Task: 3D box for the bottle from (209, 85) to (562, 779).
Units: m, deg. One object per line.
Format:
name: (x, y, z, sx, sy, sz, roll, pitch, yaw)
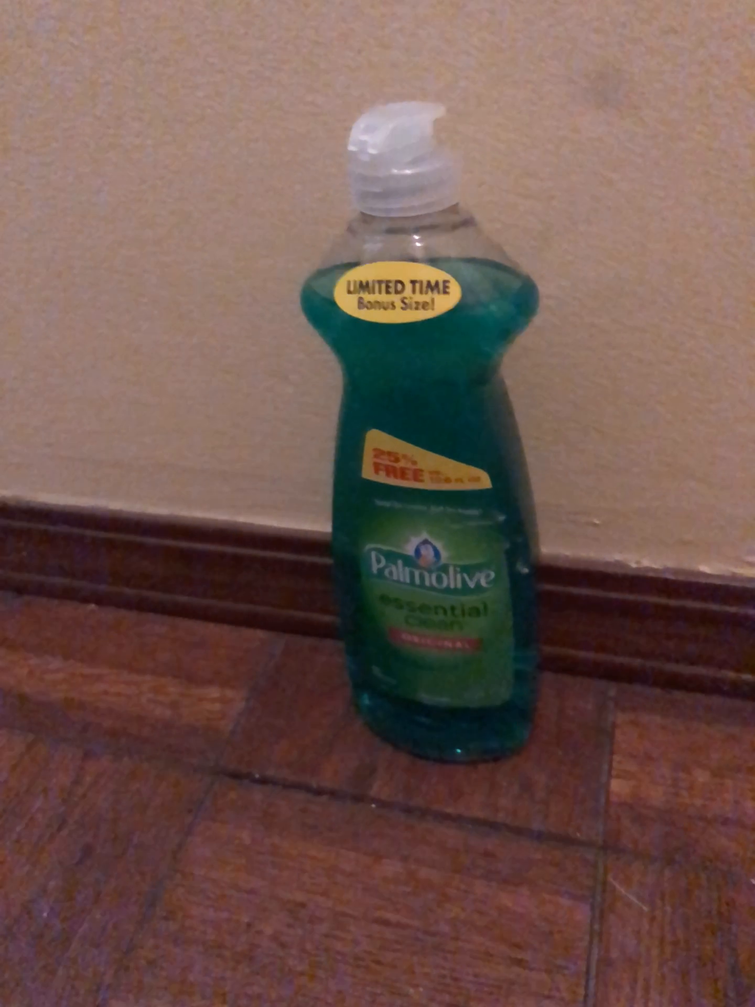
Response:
bottle: (0.016, -0.006, 0.281, 0.080, 0.229, 0.050, 4, 37, 16)
